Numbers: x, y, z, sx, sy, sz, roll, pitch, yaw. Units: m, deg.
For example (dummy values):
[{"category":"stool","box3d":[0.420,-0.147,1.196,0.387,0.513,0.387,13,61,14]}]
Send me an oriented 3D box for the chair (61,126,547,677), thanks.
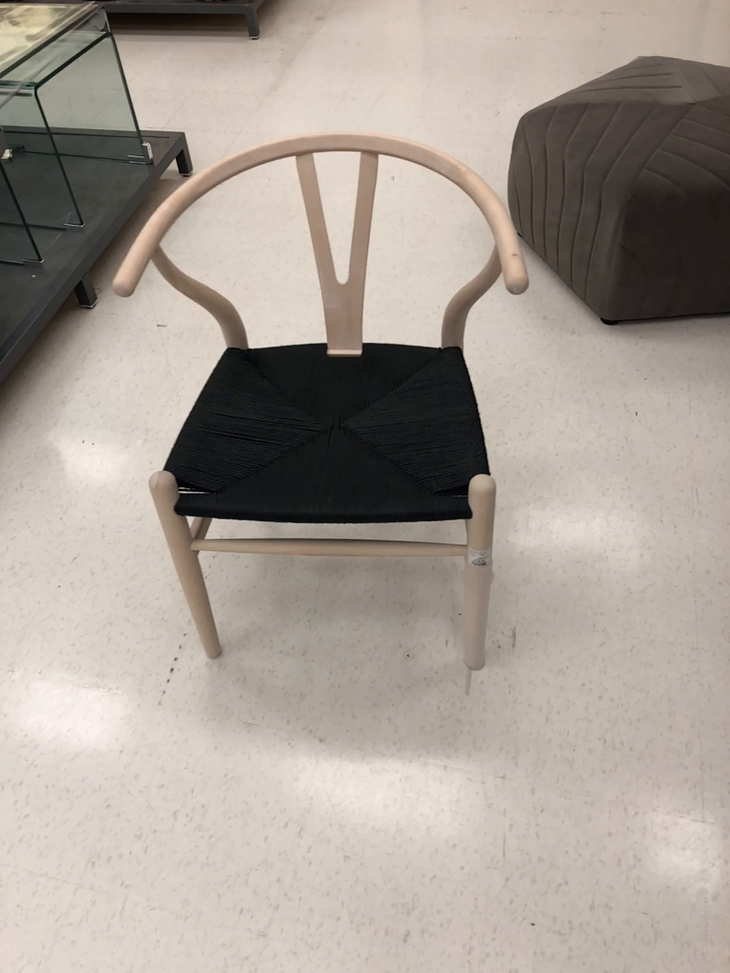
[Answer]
[{"category":"chair","box3d":[-0.033,-0.118,1.365,0.559,0.728,0.557,1,48,6]}]
